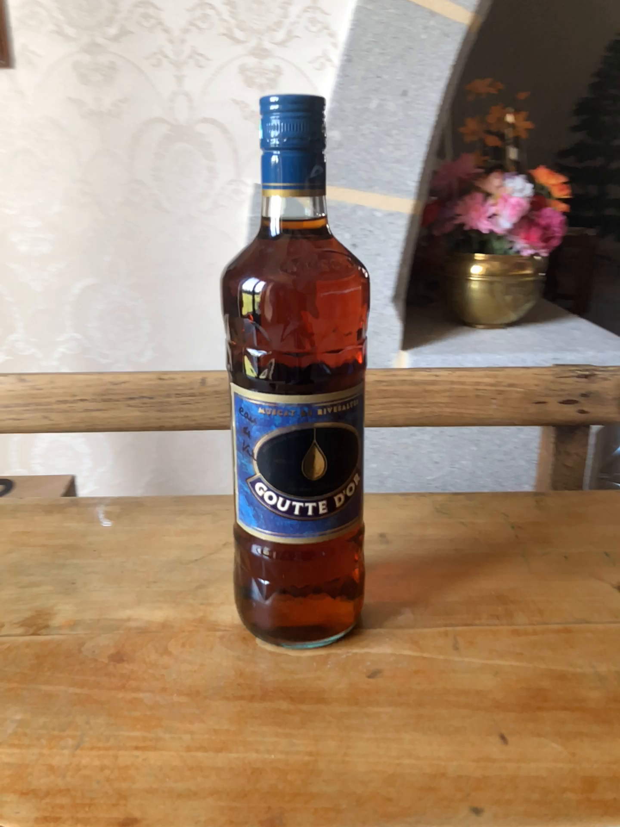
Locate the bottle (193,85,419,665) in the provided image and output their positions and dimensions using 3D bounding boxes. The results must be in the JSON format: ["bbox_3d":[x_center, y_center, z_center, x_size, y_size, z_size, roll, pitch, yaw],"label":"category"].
[{"bbox_3d":[-0.003,-0.016,0.365,0.090,0.279,0.100,-1,19,-2],"label":"bottle"}]
